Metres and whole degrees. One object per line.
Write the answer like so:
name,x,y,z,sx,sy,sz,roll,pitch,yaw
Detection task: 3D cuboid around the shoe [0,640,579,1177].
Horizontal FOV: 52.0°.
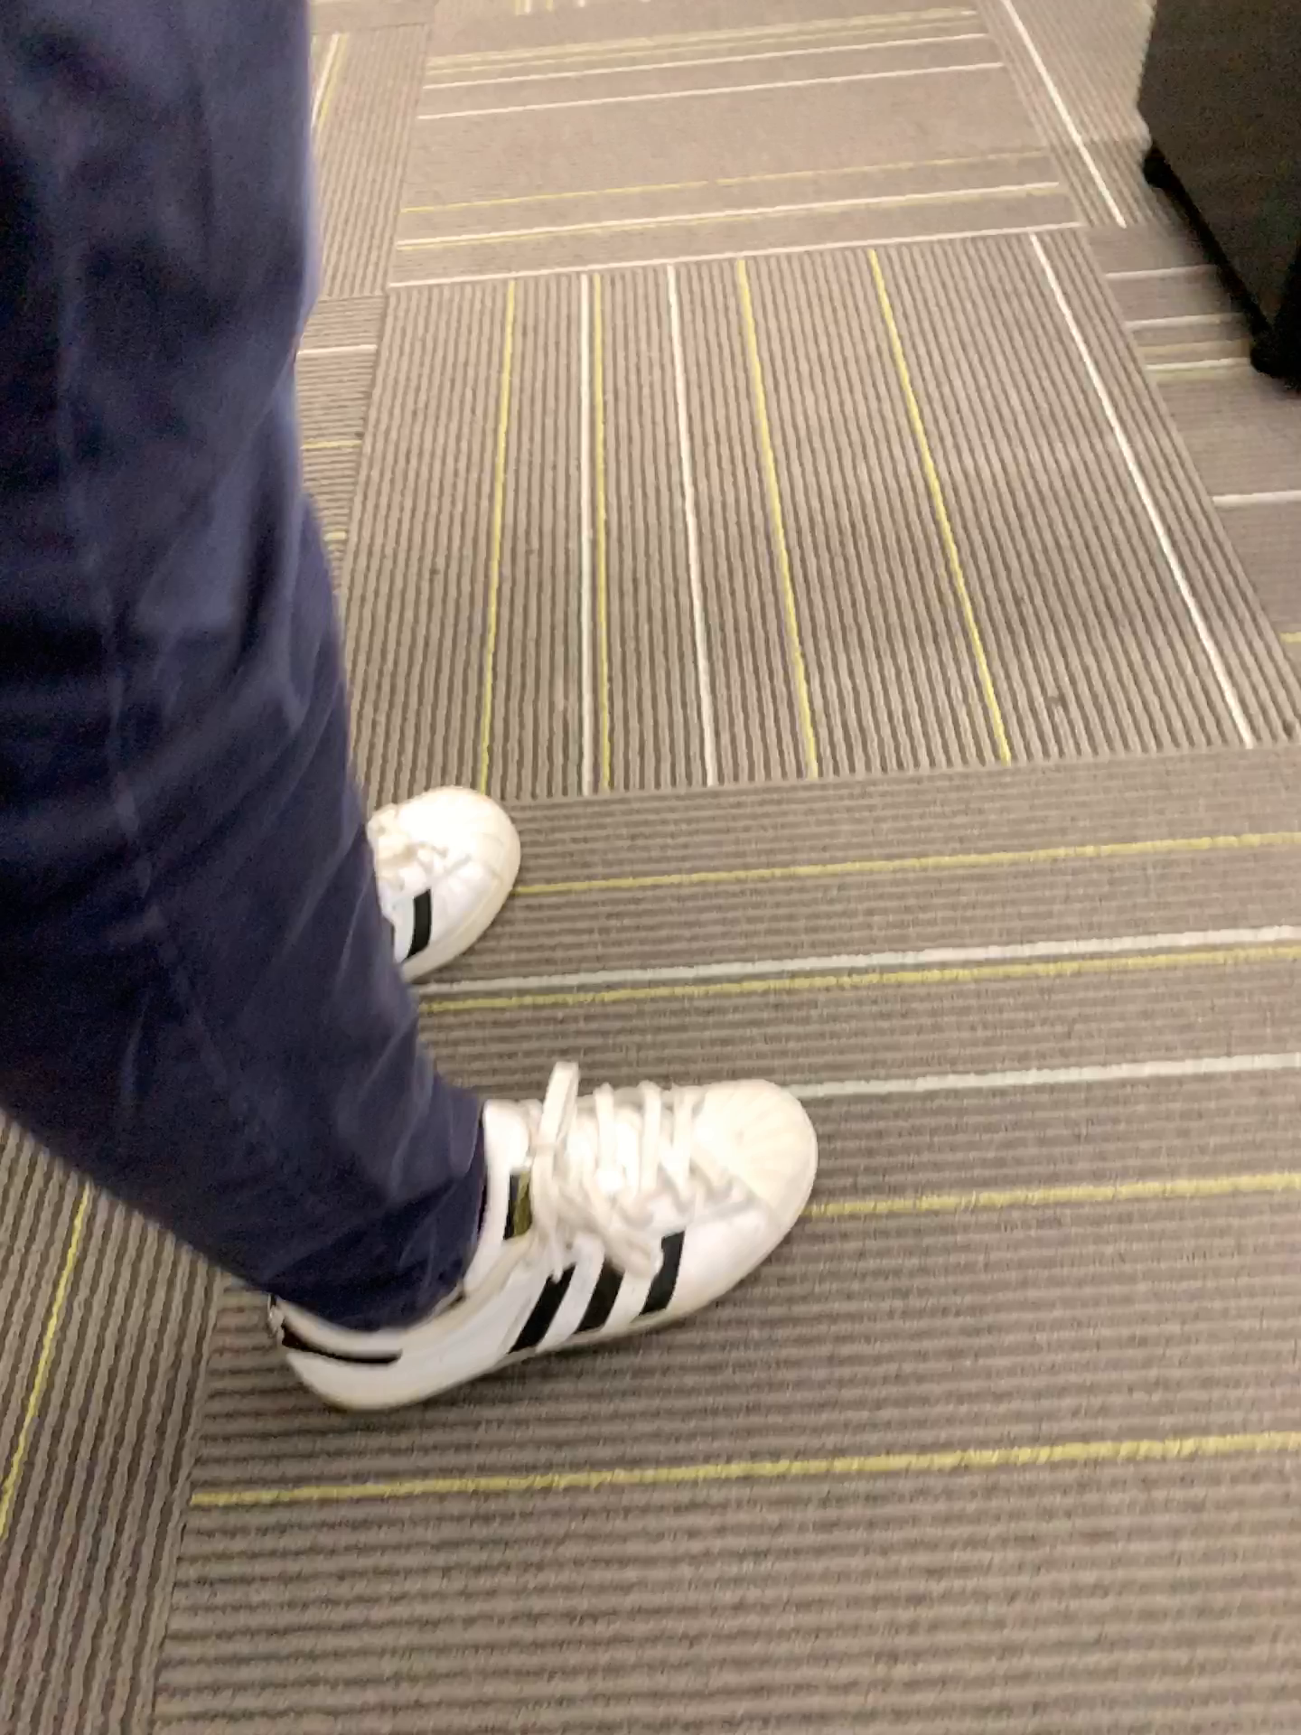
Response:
shoe,-0.174,0.013,0.691,0.108,0.104,0.262,35,62,29

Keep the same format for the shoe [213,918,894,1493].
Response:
shoe,-0.036,0.143,0.581,0.258,0.104,0.106,-24,53,-14
